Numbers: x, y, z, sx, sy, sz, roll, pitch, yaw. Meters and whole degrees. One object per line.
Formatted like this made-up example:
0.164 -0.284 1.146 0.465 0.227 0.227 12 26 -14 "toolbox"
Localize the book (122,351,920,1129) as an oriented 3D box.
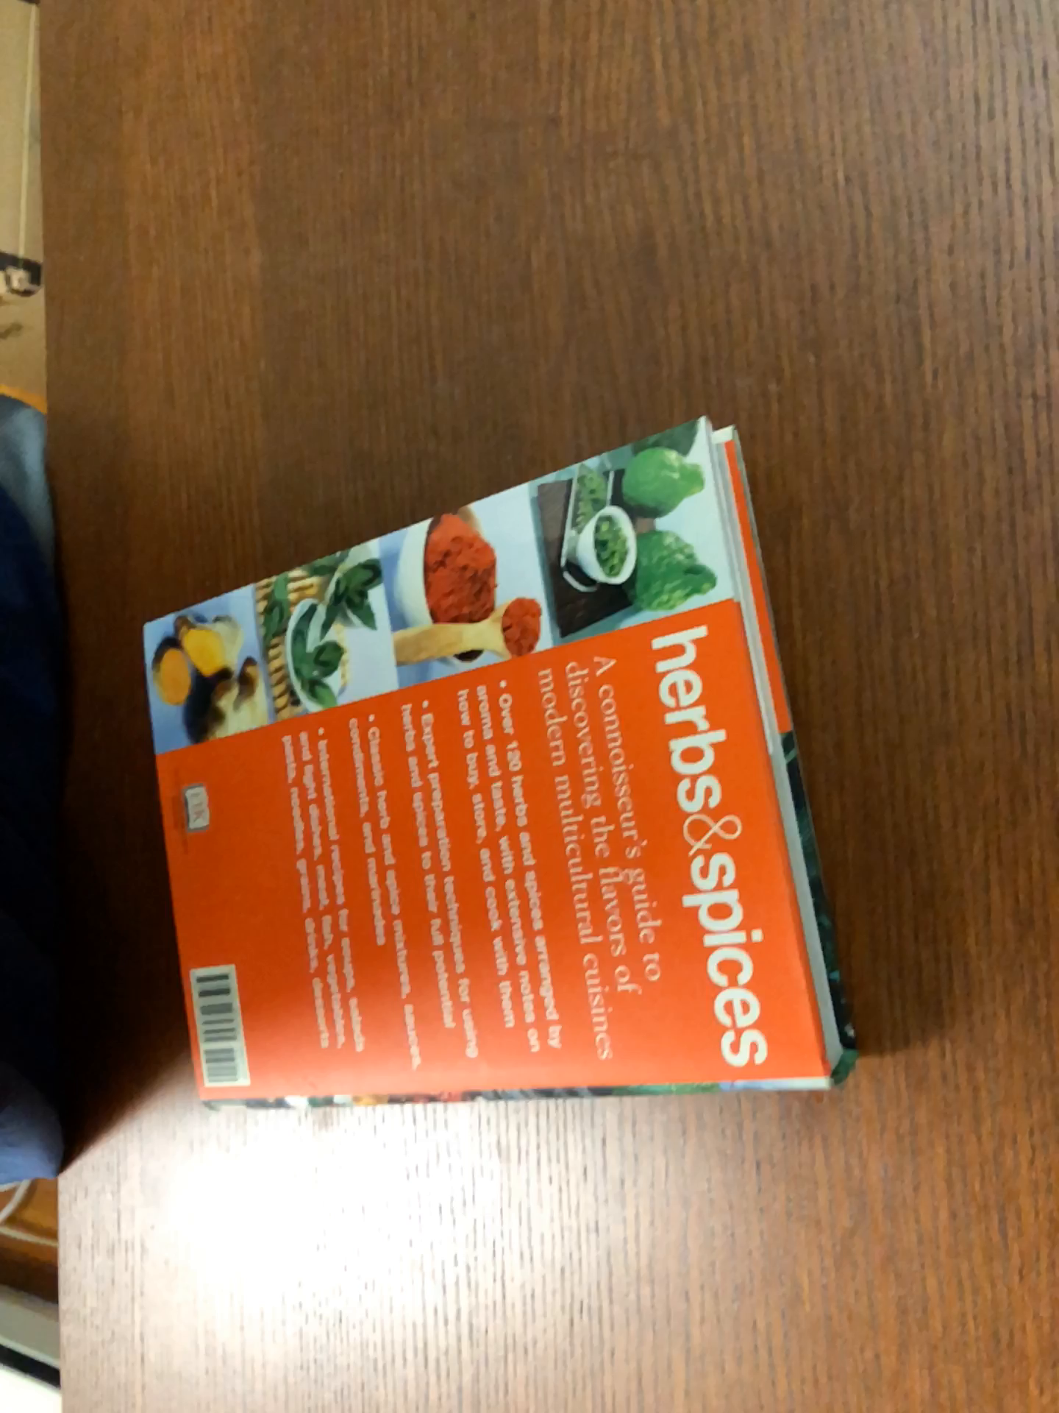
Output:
-0.026 0.030 0.402 0.271 0.040 0.210 -13 81 32 "book"
